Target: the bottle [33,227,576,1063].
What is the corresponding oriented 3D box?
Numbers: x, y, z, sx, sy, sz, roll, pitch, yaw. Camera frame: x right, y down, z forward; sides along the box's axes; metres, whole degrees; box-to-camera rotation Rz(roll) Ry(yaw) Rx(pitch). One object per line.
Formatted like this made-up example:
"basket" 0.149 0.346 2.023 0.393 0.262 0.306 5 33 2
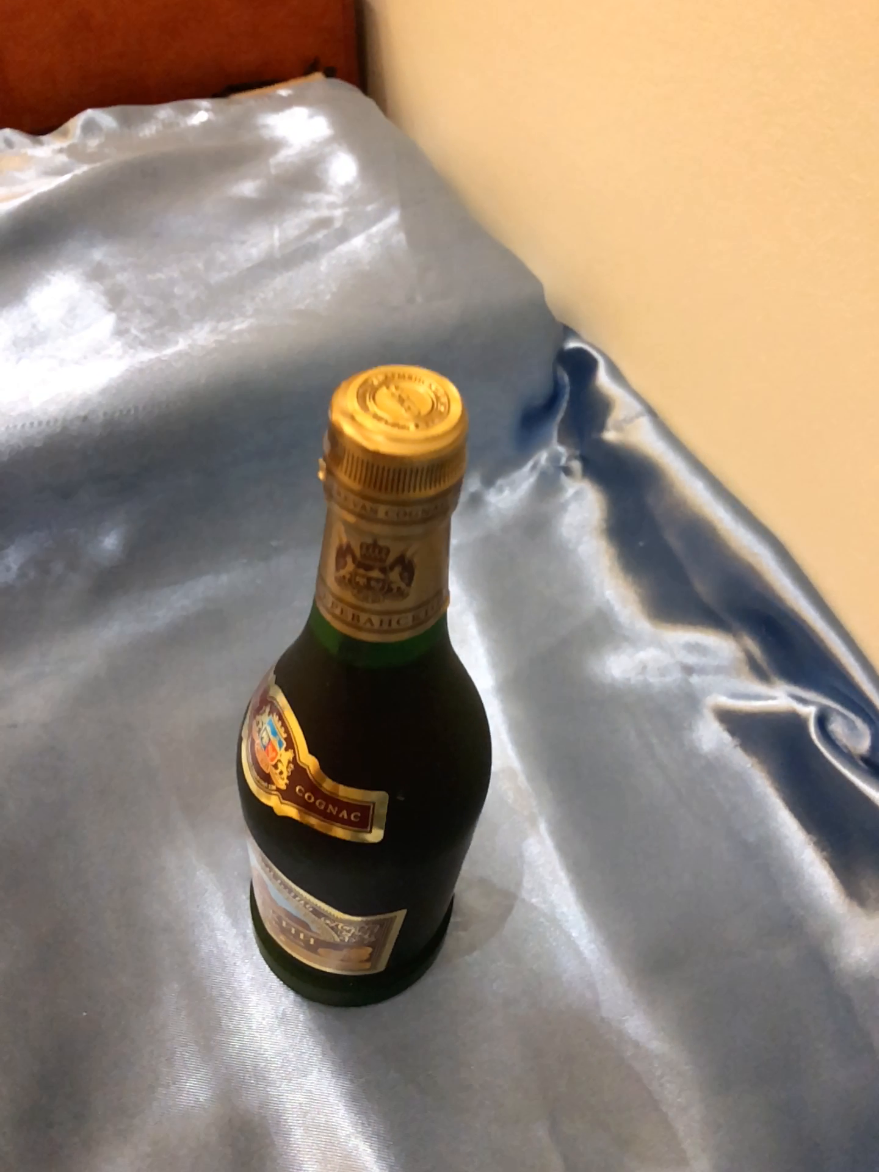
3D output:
"bottle" -0.031 0.041 0.273 0.074 0.247 0.080 1 49 -1
